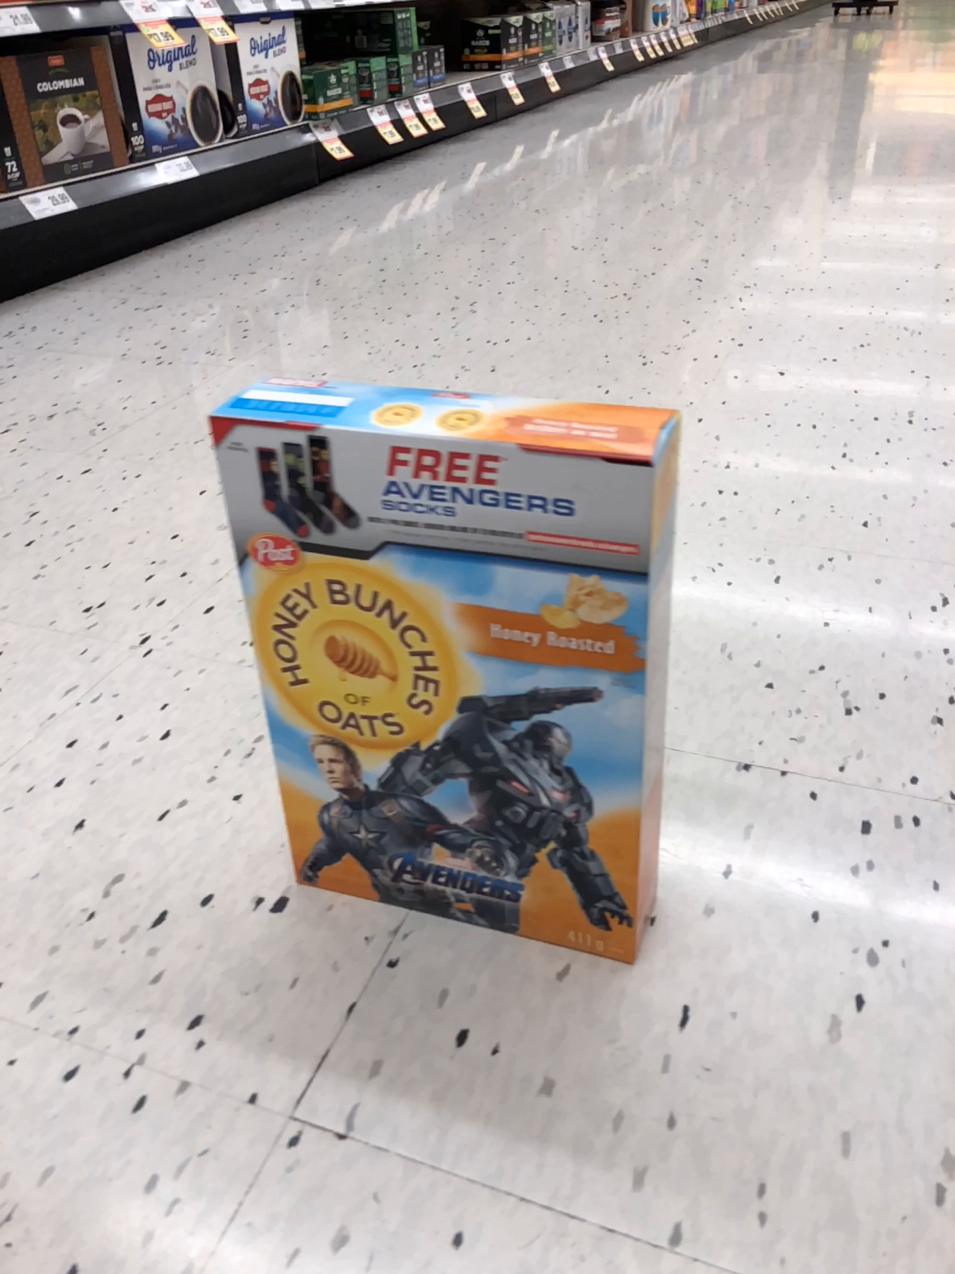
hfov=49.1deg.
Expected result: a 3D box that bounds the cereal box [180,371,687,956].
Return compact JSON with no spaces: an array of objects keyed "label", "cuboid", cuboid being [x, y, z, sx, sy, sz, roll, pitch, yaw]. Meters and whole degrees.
[{"label":"cereal box","cuboid":[-0.014,0.017,0.497,0.200,0.258,0.060,8,33,17]}]
